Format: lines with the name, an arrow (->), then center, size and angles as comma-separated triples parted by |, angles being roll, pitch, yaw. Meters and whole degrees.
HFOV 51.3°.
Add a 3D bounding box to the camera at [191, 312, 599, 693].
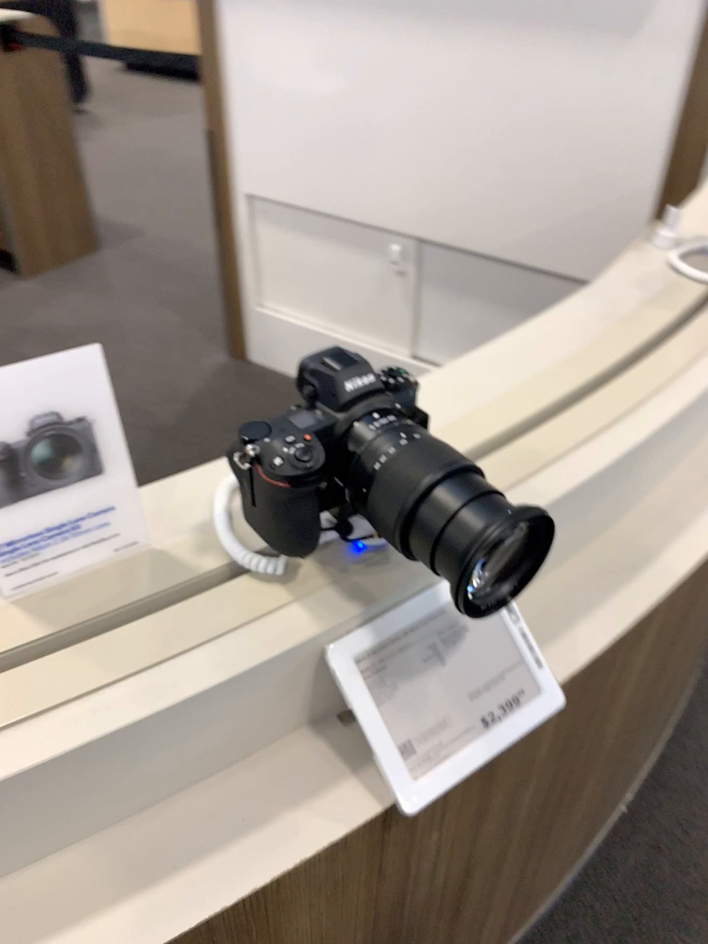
camera -> 0.015, 0.002, 0.468 | 0.140, 0.099, 0.211 | -25, 45, -28
